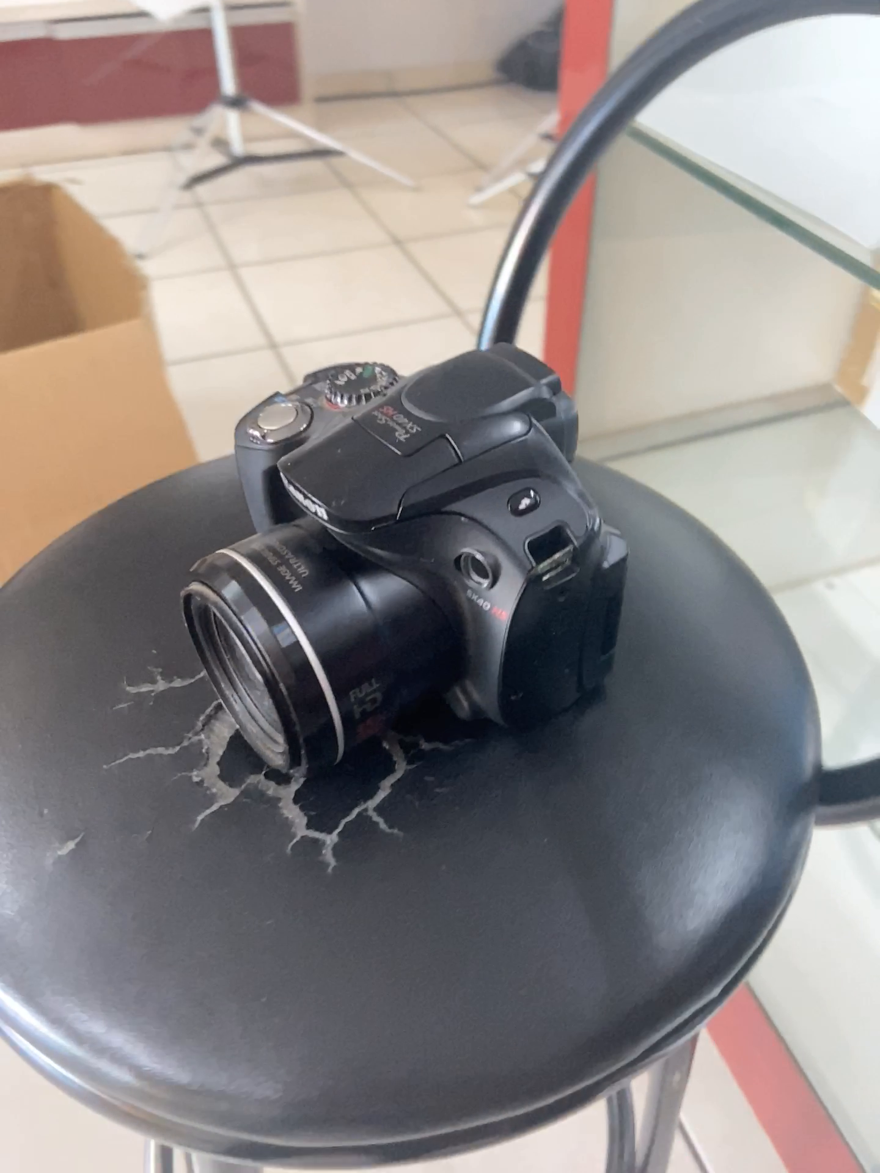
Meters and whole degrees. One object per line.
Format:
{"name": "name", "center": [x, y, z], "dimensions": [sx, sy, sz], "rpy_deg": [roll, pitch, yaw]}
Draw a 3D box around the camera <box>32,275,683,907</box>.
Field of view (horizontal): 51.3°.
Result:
{"name": "camera", "center": [-0.022, -0.010, 0.256], "dimensions": [0.110, 0.089, 0.120], "rpy_deg": [-31, 50, -29]}
